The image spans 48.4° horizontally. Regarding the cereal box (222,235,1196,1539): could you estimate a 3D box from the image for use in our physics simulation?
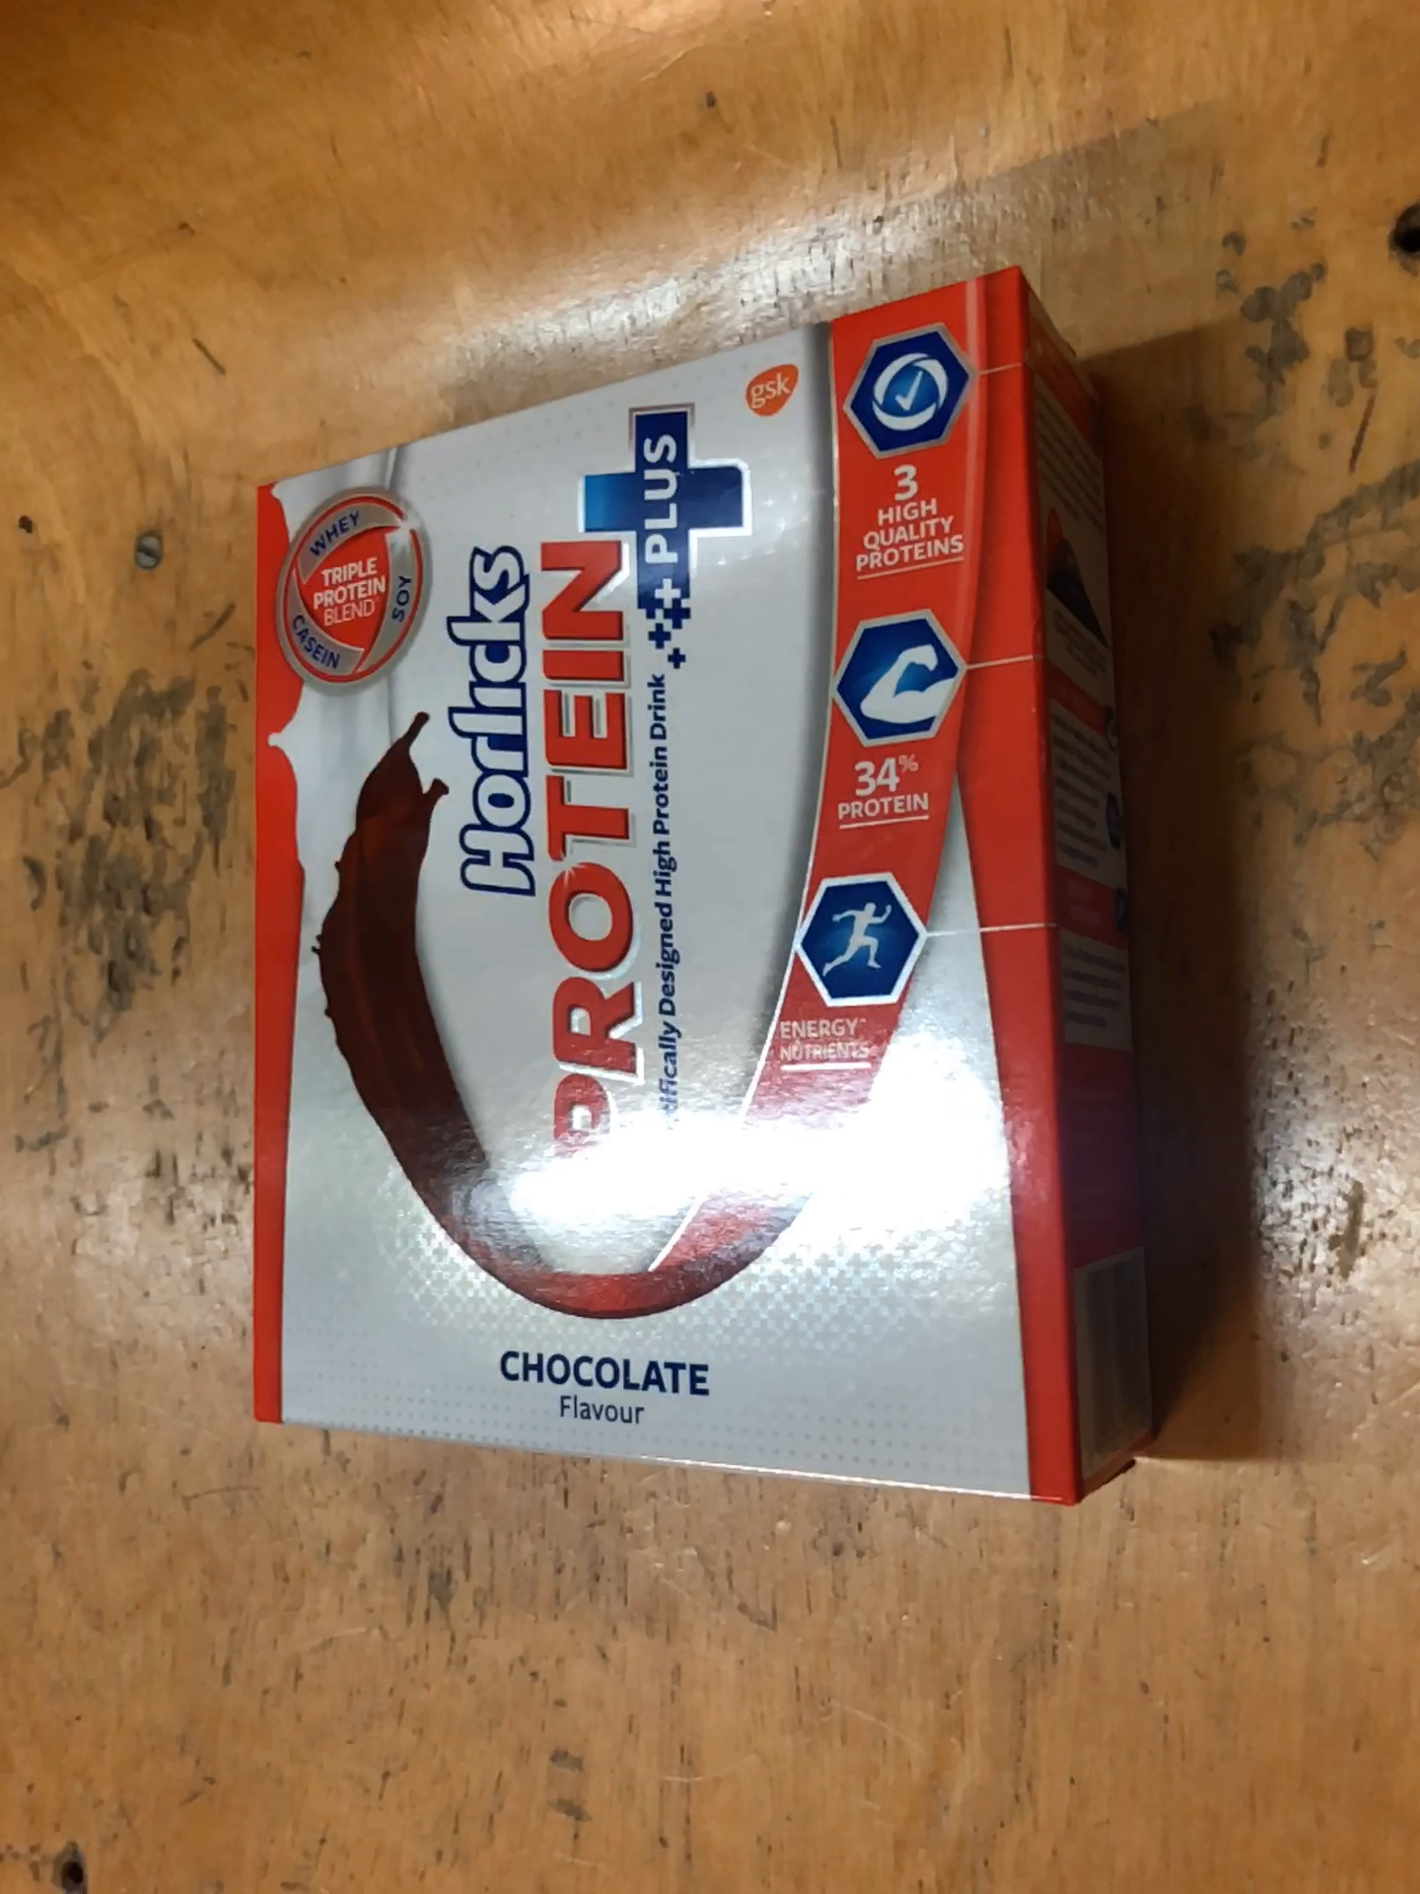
[{"bbox_3d":[-0.005,-0.004,0.247,0.140,0.050,0.160,-4,85,27],"label":"cereal box"}]
